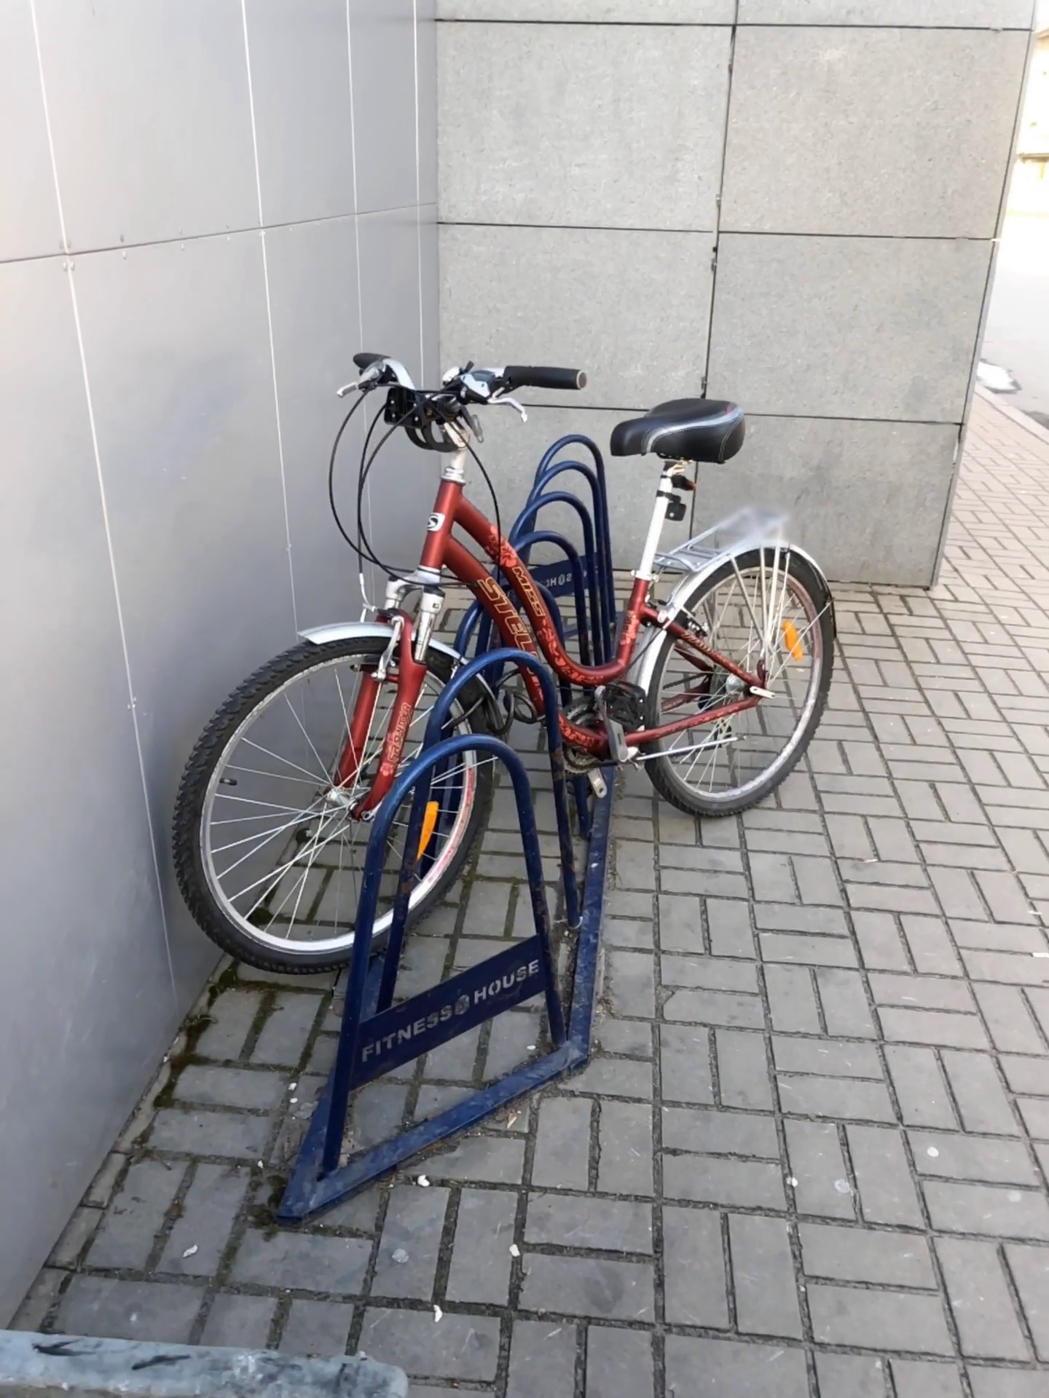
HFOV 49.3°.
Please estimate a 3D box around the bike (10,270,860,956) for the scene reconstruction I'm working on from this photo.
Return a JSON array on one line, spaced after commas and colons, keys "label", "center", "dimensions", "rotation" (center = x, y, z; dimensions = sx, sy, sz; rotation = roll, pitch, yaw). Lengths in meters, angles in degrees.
[{"label": "bike", "center": [-0.110, -0.223, 2.176], "dimensions": [1.305, 0.973, 0.598], "rotation": [-11, 27, -34]}]
